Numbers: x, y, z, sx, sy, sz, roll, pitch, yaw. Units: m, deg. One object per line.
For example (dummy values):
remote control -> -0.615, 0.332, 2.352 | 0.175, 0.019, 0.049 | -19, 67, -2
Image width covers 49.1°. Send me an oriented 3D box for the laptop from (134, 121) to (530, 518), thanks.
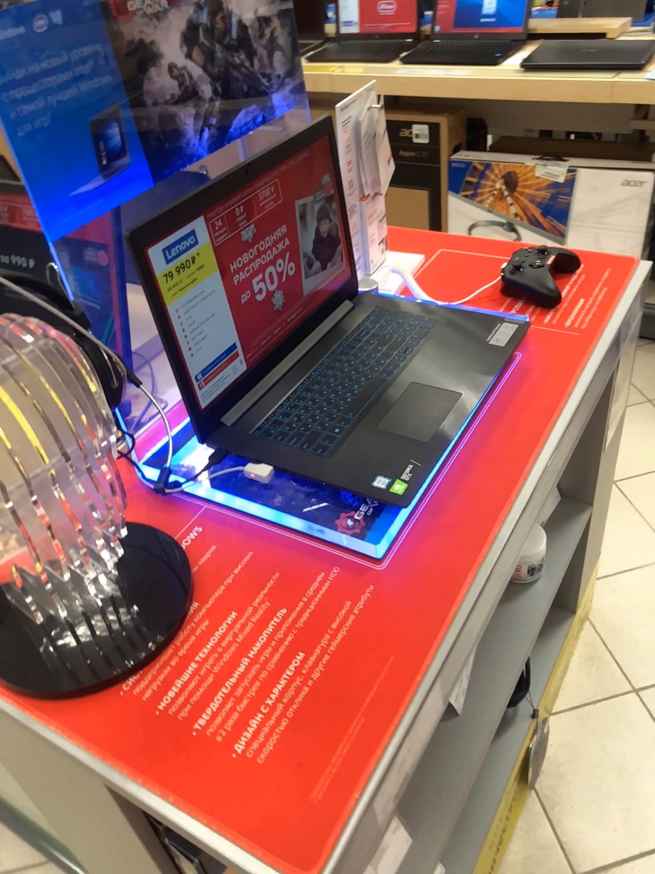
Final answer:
laptop -> 0.036, -0.180, 0.889 | 0.295, 0.255, 0.405 | 17, 44, 27
